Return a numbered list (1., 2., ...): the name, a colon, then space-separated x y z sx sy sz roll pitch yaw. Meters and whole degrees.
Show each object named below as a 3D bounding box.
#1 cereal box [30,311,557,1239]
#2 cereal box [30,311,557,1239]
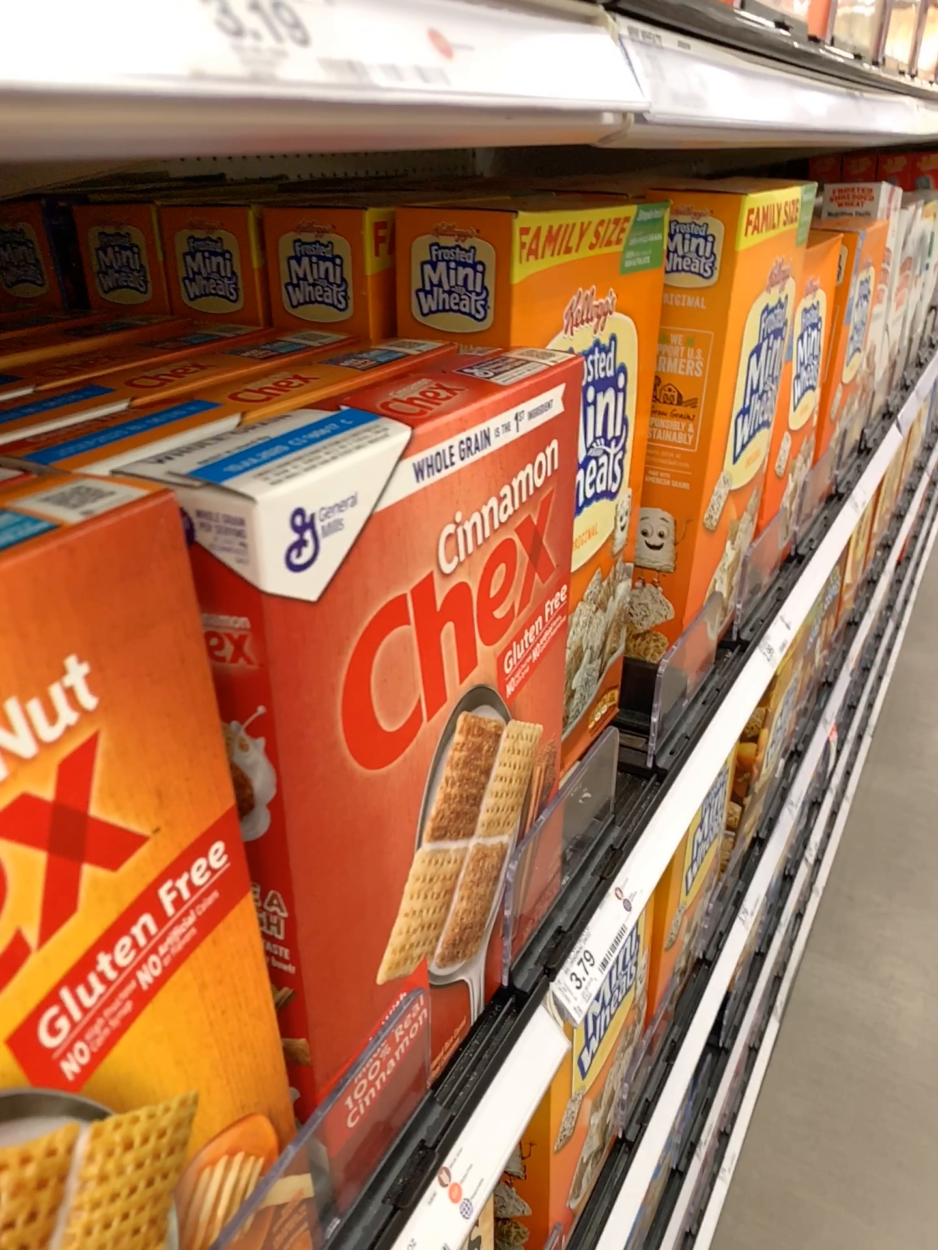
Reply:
1. cereal box: -0.038 0.047 0.382 0.060 0.298 0.201 13 30 26
2. cereal box: -0.038 0.047 0.382 0.060 0.298 0.201 13 30 26
